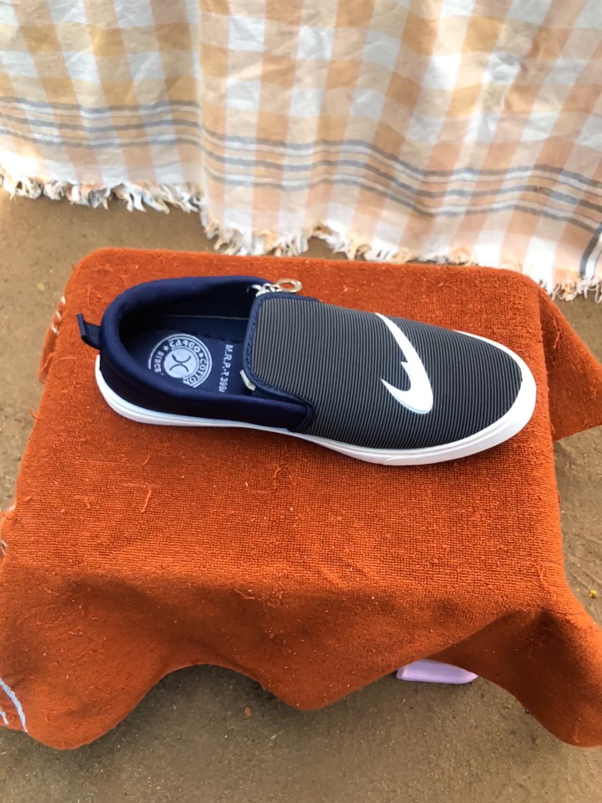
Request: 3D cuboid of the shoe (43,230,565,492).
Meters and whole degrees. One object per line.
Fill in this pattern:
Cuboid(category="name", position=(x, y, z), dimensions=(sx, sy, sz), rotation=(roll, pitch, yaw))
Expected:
Cuboid(category="shoe", position=(0.006, -0.024, 0.438), dimensions=(0.300, 0.080, 0.100), rotation=(9, 63, 1))
